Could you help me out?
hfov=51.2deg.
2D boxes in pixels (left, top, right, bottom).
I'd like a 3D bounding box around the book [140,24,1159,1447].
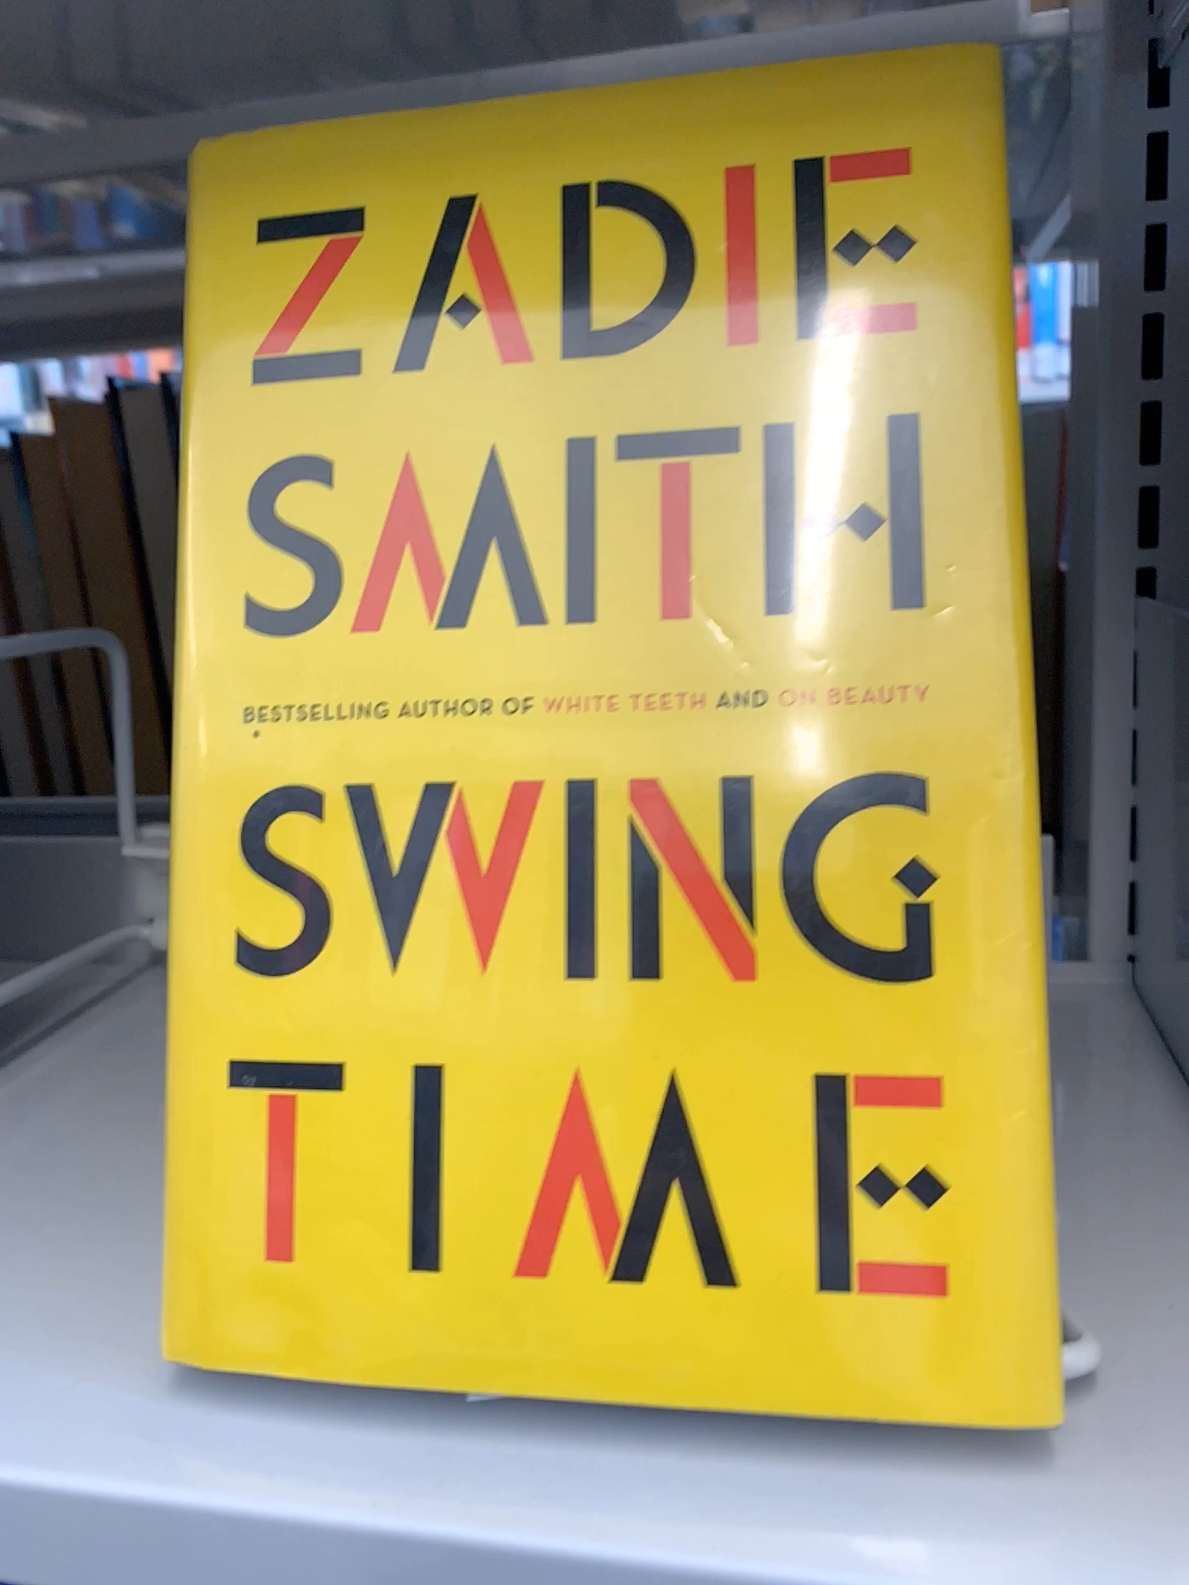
[{"bbox_3d":[0.008,-0.012,0.245,0.168,0.233,0.060,-1,-6,10],"label":"book"}]
